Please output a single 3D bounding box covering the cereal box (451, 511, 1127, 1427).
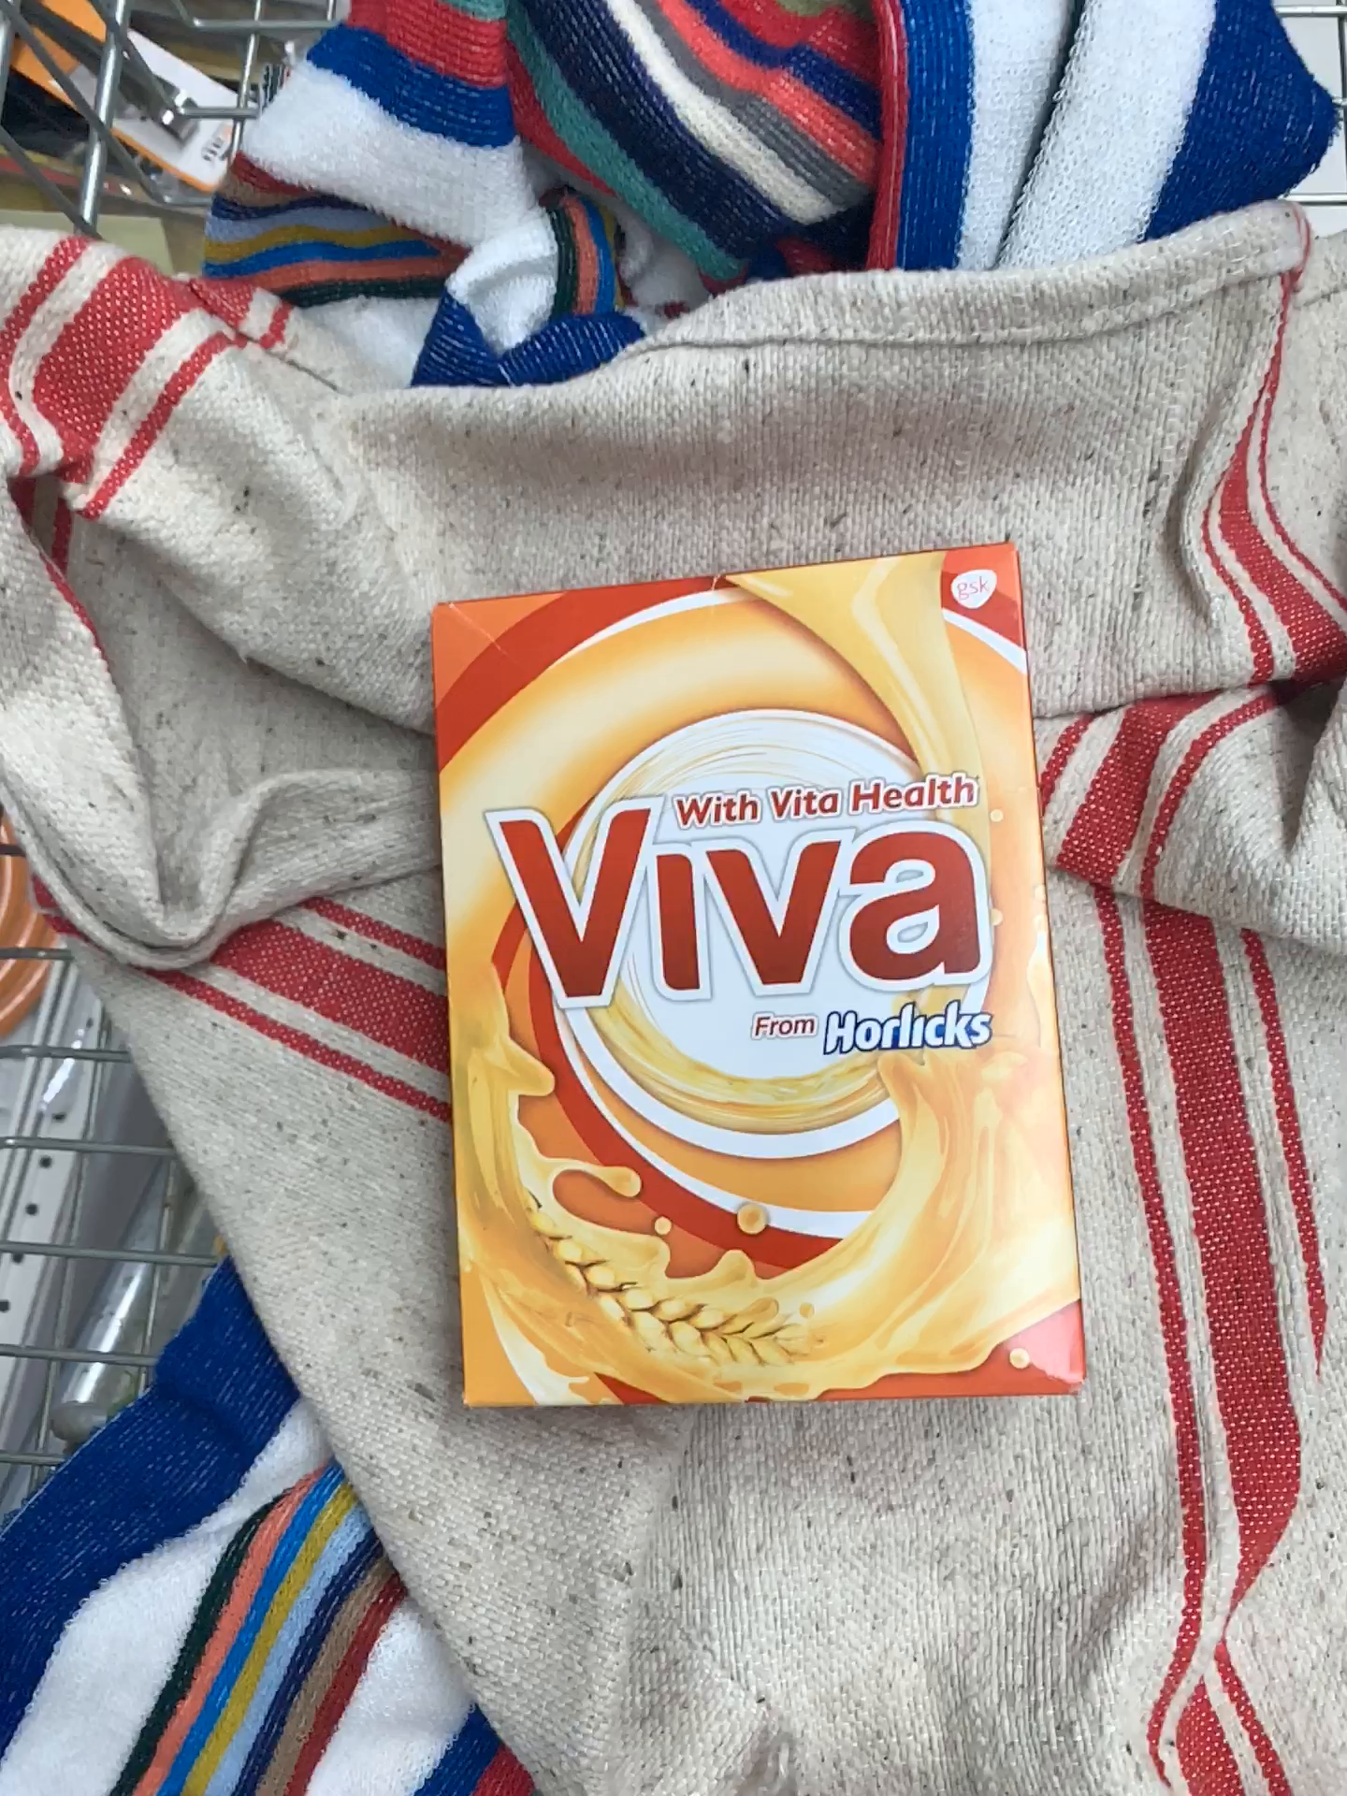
[{"bbox_3d":[0.026,0.018,0.351,0.140,0.070,0.200,-4,84,5],"label":"cereal box"}]
